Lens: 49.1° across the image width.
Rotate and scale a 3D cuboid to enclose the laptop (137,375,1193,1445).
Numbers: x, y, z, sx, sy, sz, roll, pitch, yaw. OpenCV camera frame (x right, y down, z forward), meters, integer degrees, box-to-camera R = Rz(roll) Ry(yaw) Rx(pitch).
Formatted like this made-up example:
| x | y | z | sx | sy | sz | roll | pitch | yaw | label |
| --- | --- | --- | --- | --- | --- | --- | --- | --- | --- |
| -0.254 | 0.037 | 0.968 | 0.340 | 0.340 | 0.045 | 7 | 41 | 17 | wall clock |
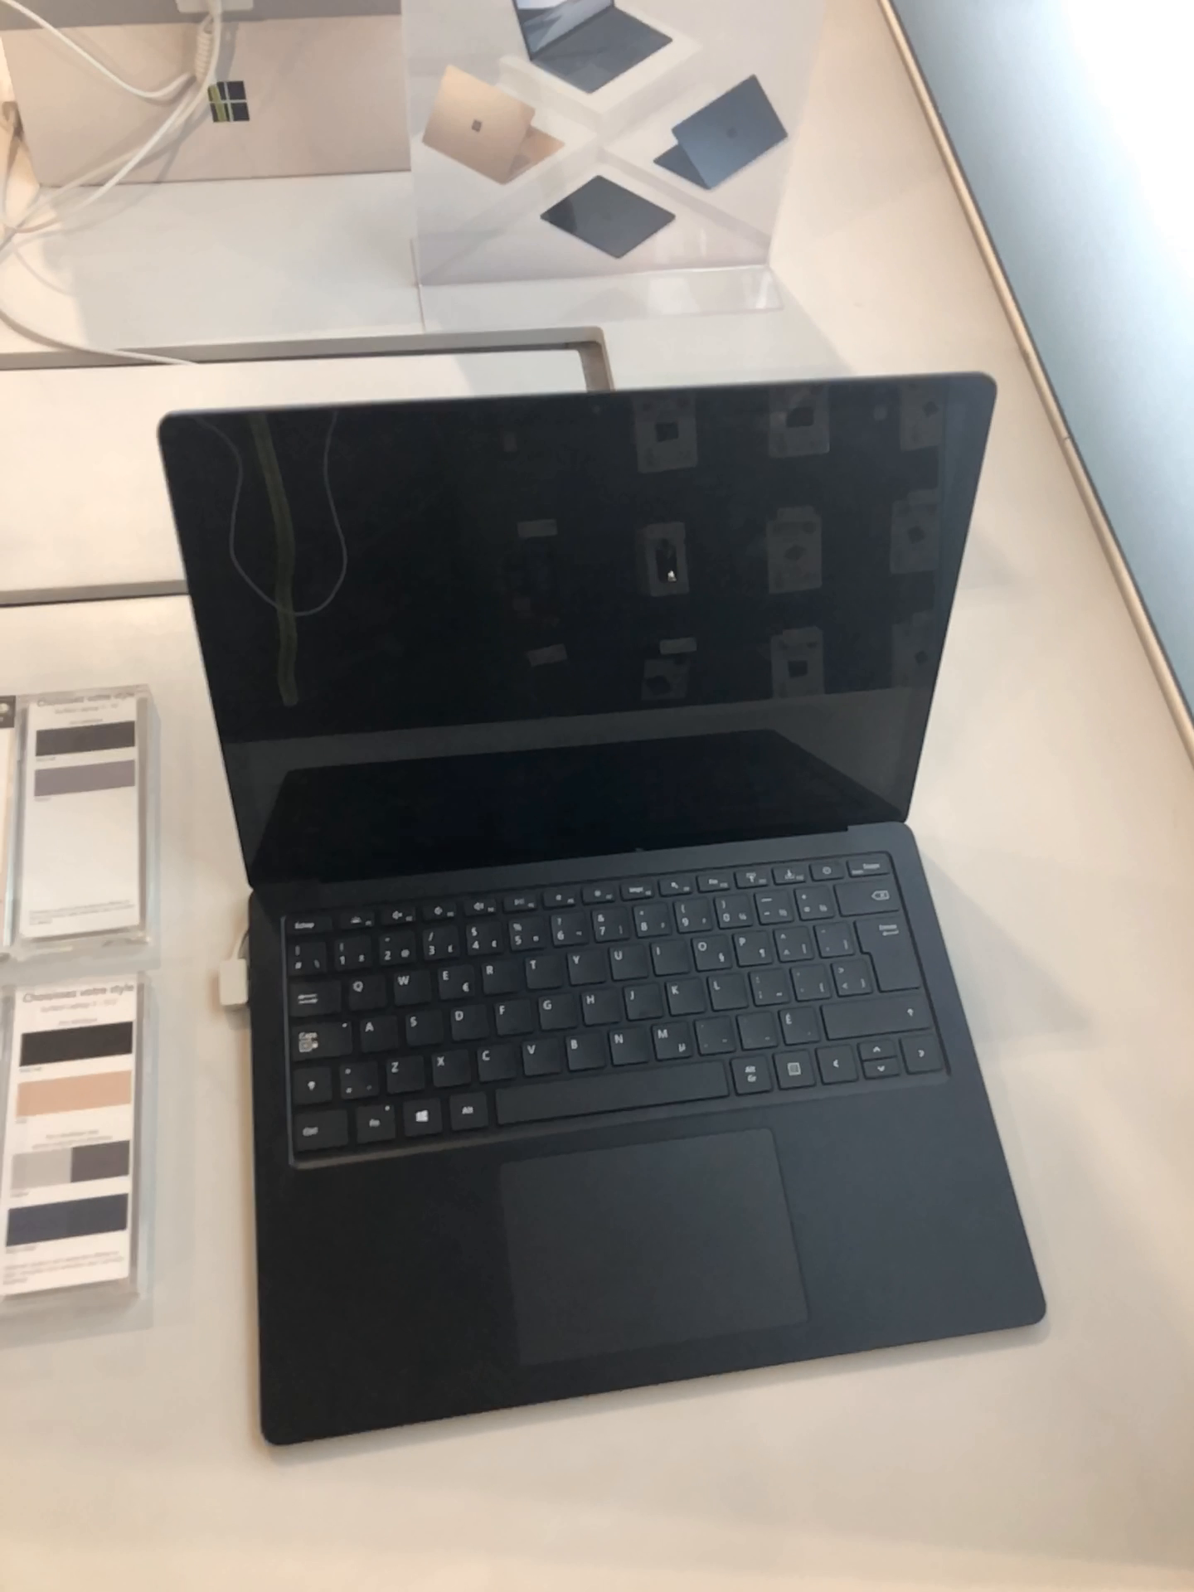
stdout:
| x | y | z | sx | sy | sz | roll | pitch | yaw | label |
| --- | --- | --- | --- | --- | --- | --- | --- | --- | --- |
| 0.014 | 0.038 | 0.488 | 0.308 | 0.198 | 0.314 | -5 | 62 | -9 | laptop |
